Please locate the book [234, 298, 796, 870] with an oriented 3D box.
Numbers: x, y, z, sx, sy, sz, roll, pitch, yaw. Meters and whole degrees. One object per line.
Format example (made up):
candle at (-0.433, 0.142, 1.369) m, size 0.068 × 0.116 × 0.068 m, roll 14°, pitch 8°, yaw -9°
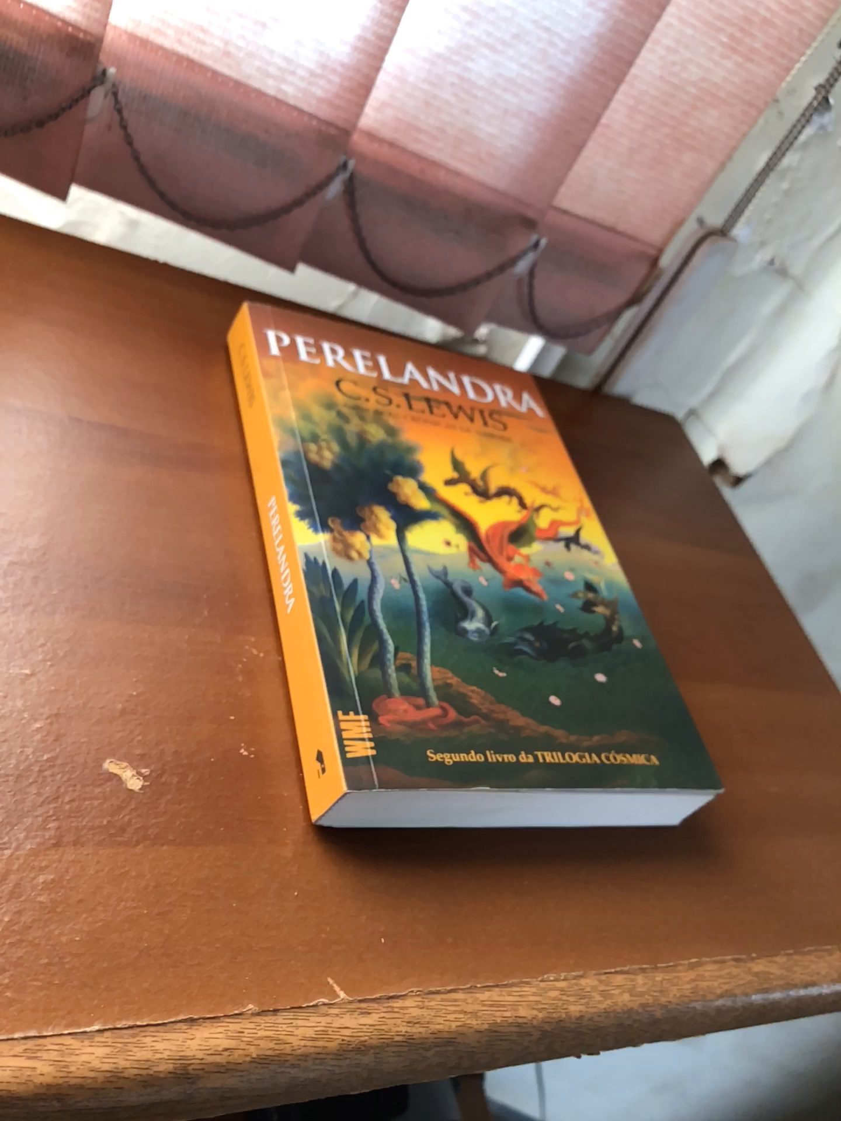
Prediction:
book at (0.019, -0.001, 0.303) m, size 0.130 × 0.030 × 0.191 m, roll 7°, pitch 45°, yaw -29°
